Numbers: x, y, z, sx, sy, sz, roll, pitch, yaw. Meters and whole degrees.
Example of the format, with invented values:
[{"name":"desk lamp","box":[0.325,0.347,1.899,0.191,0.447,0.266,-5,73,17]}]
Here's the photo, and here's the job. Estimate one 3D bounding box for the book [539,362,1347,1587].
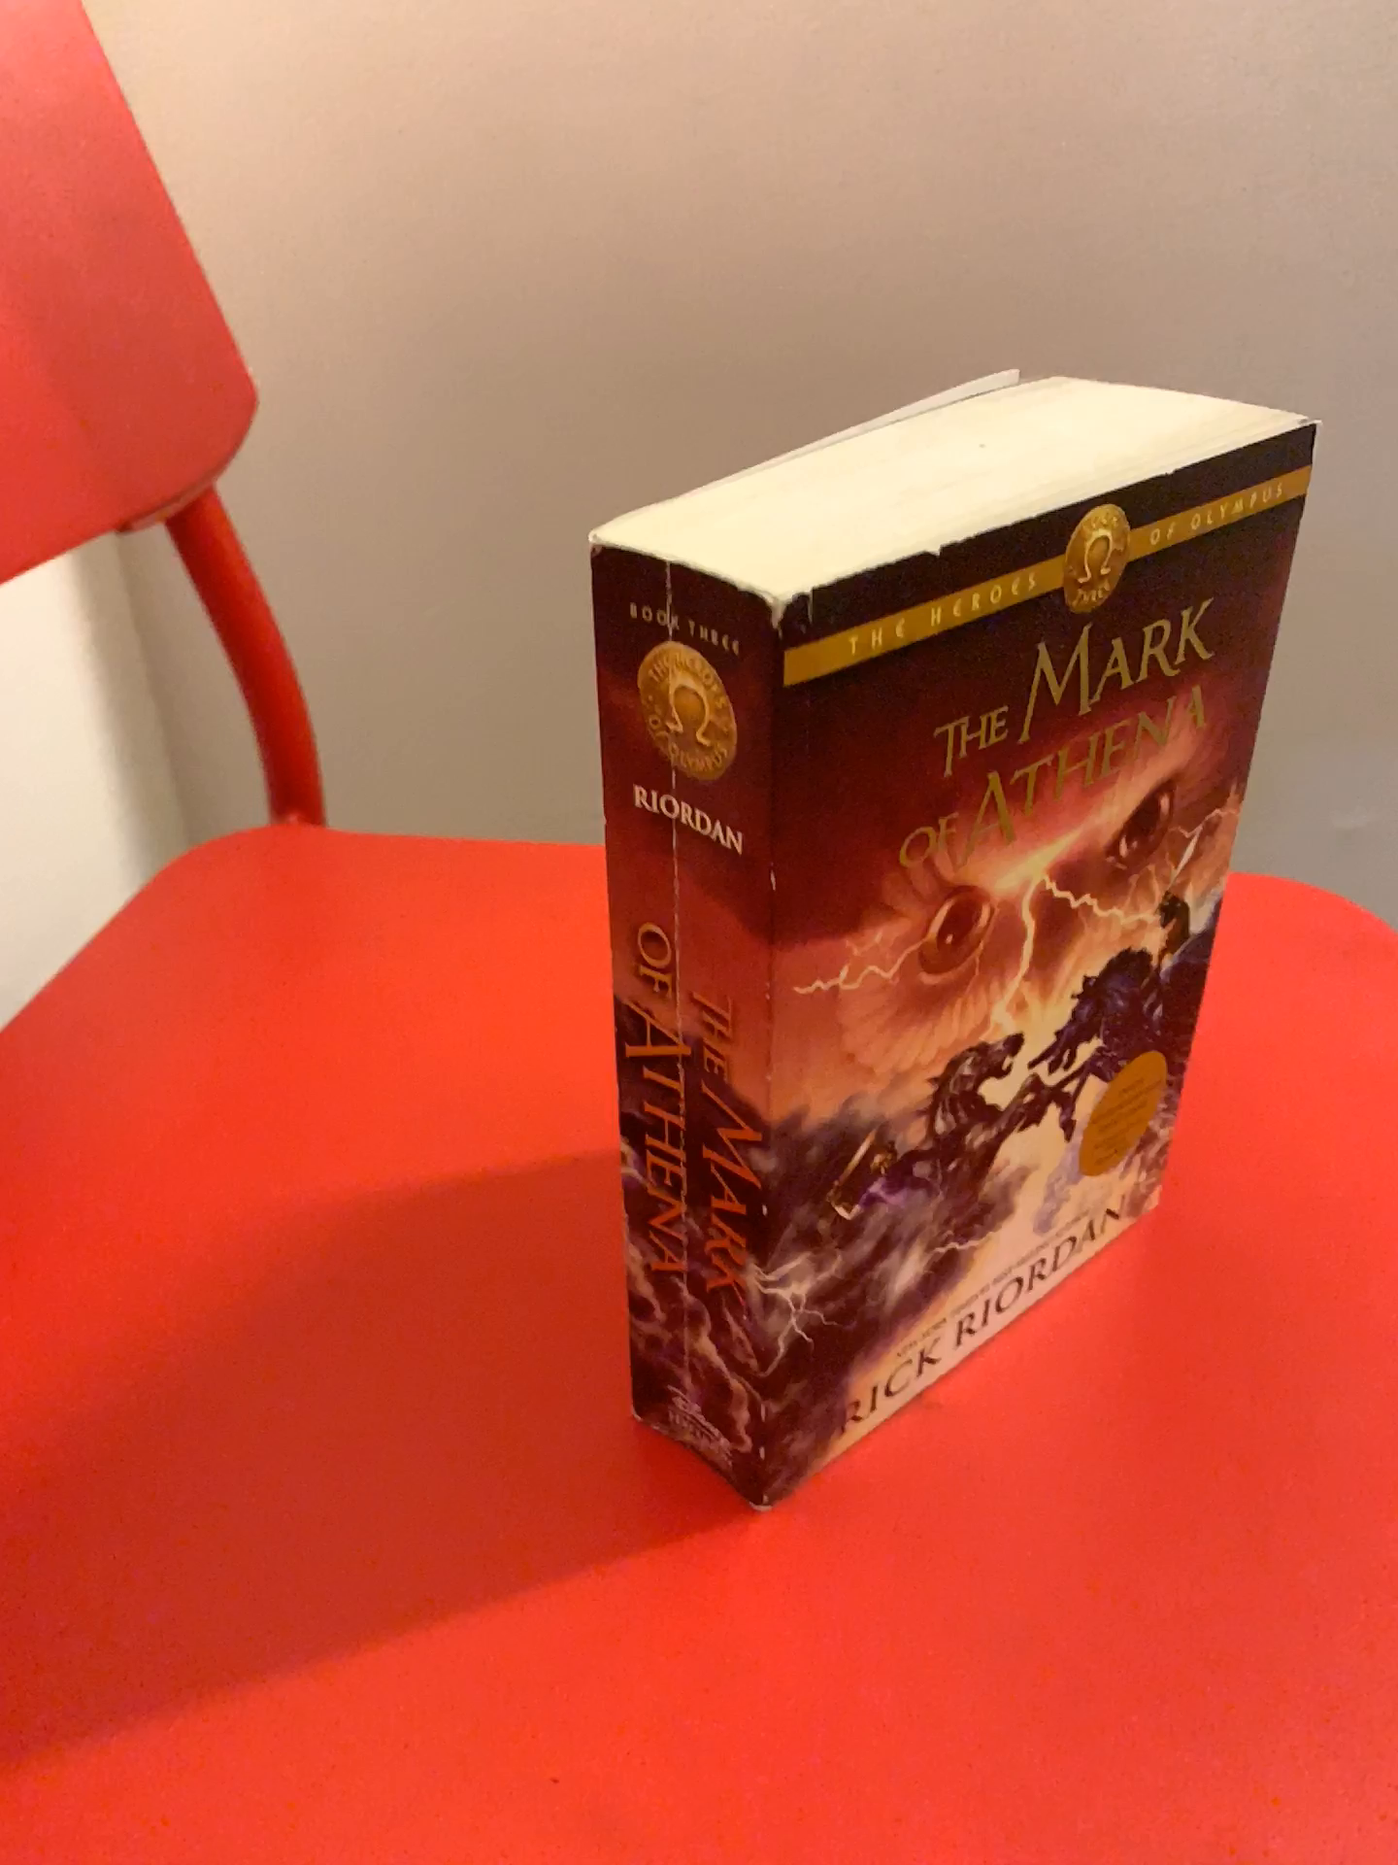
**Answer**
[{"name":"book","box":[0.046,0.005,0.287,0.061,0.193,0.140,27,41,34]}]
